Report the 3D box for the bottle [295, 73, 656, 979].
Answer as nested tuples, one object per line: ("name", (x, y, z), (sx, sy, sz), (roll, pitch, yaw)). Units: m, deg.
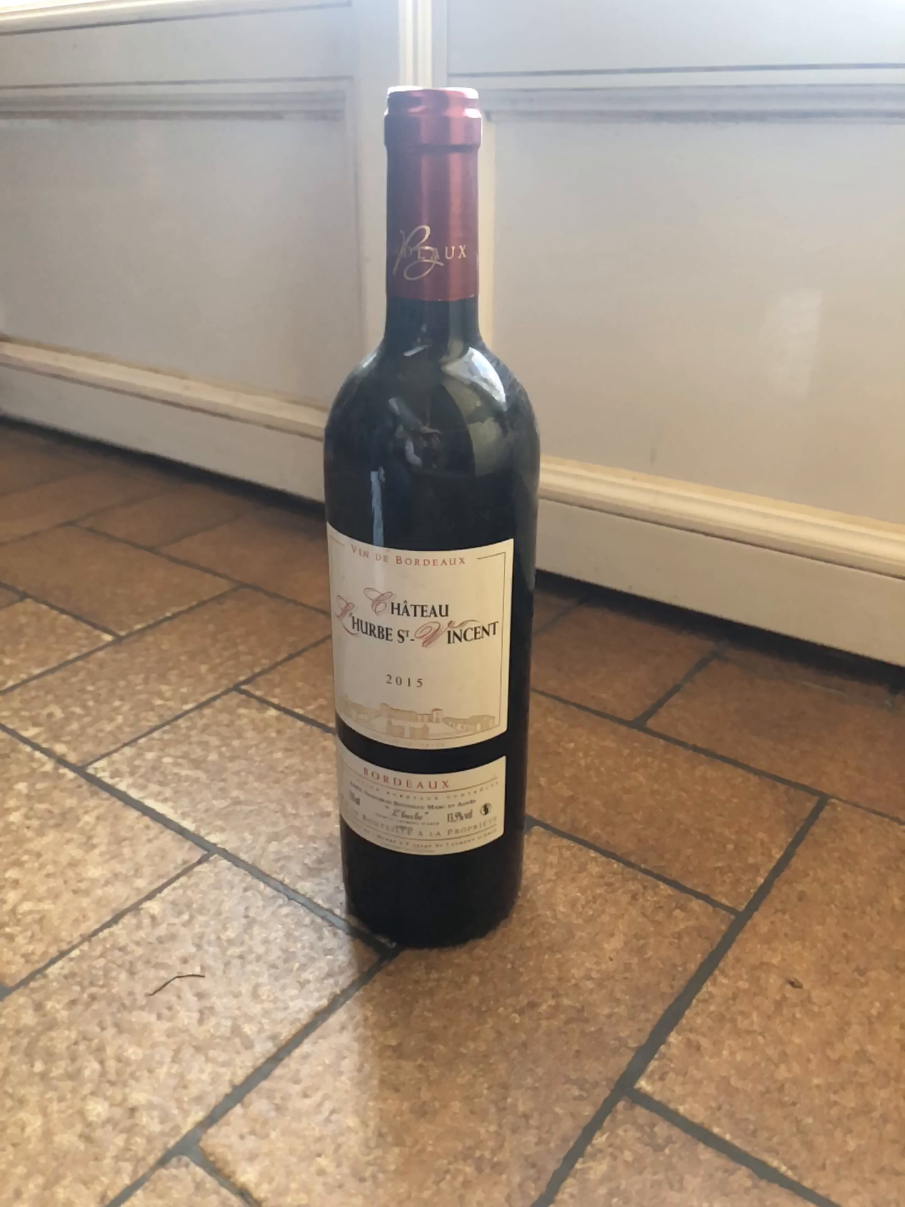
("bottle", (0.012, -0.019, 0.348), (0.090, 0.288, 0.091), (0, 25, 0))
